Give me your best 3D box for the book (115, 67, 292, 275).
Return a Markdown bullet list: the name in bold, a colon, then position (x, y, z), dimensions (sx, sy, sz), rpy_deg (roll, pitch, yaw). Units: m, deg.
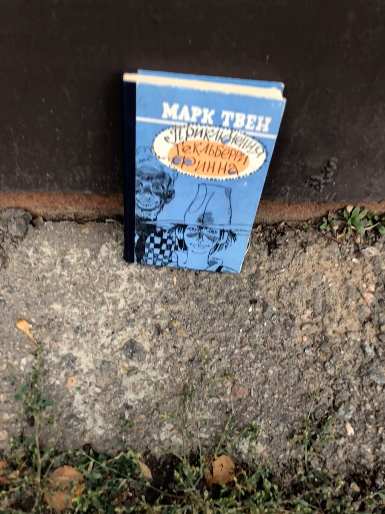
- **book**: position (0.003, -0.065, 0.384), dimensions (0.130, 0.186, 0.030), rpy_deg (6, 44, 1)
